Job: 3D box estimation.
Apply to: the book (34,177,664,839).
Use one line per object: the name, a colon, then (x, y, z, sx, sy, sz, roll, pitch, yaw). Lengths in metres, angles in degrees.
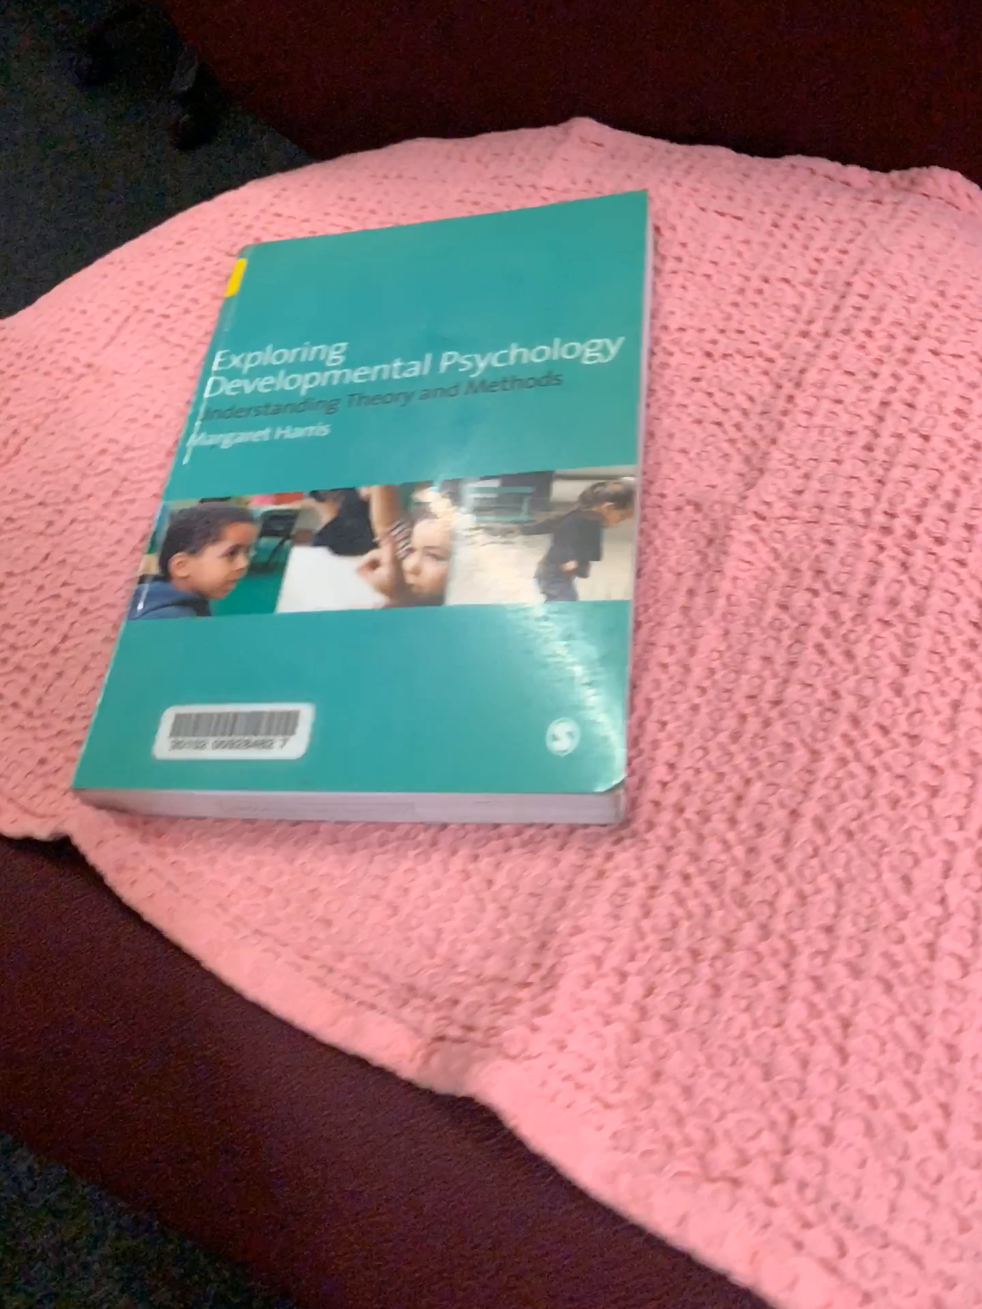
book: (-0.033, -0.061, 0.347, 0.176, 0.030, 0.246, -2, 59, 15)
